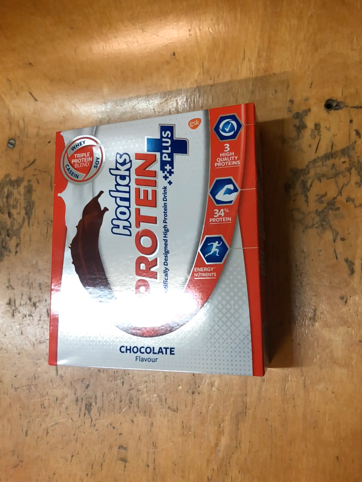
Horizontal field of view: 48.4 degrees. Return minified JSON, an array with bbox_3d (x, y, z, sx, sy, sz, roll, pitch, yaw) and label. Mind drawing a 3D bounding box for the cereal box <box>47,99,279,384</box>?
[{"bbox_3d":[-0.011,0.002,0.267,0.140,0.050,0.160,-2,84,15],"label":"cereal box"}]
